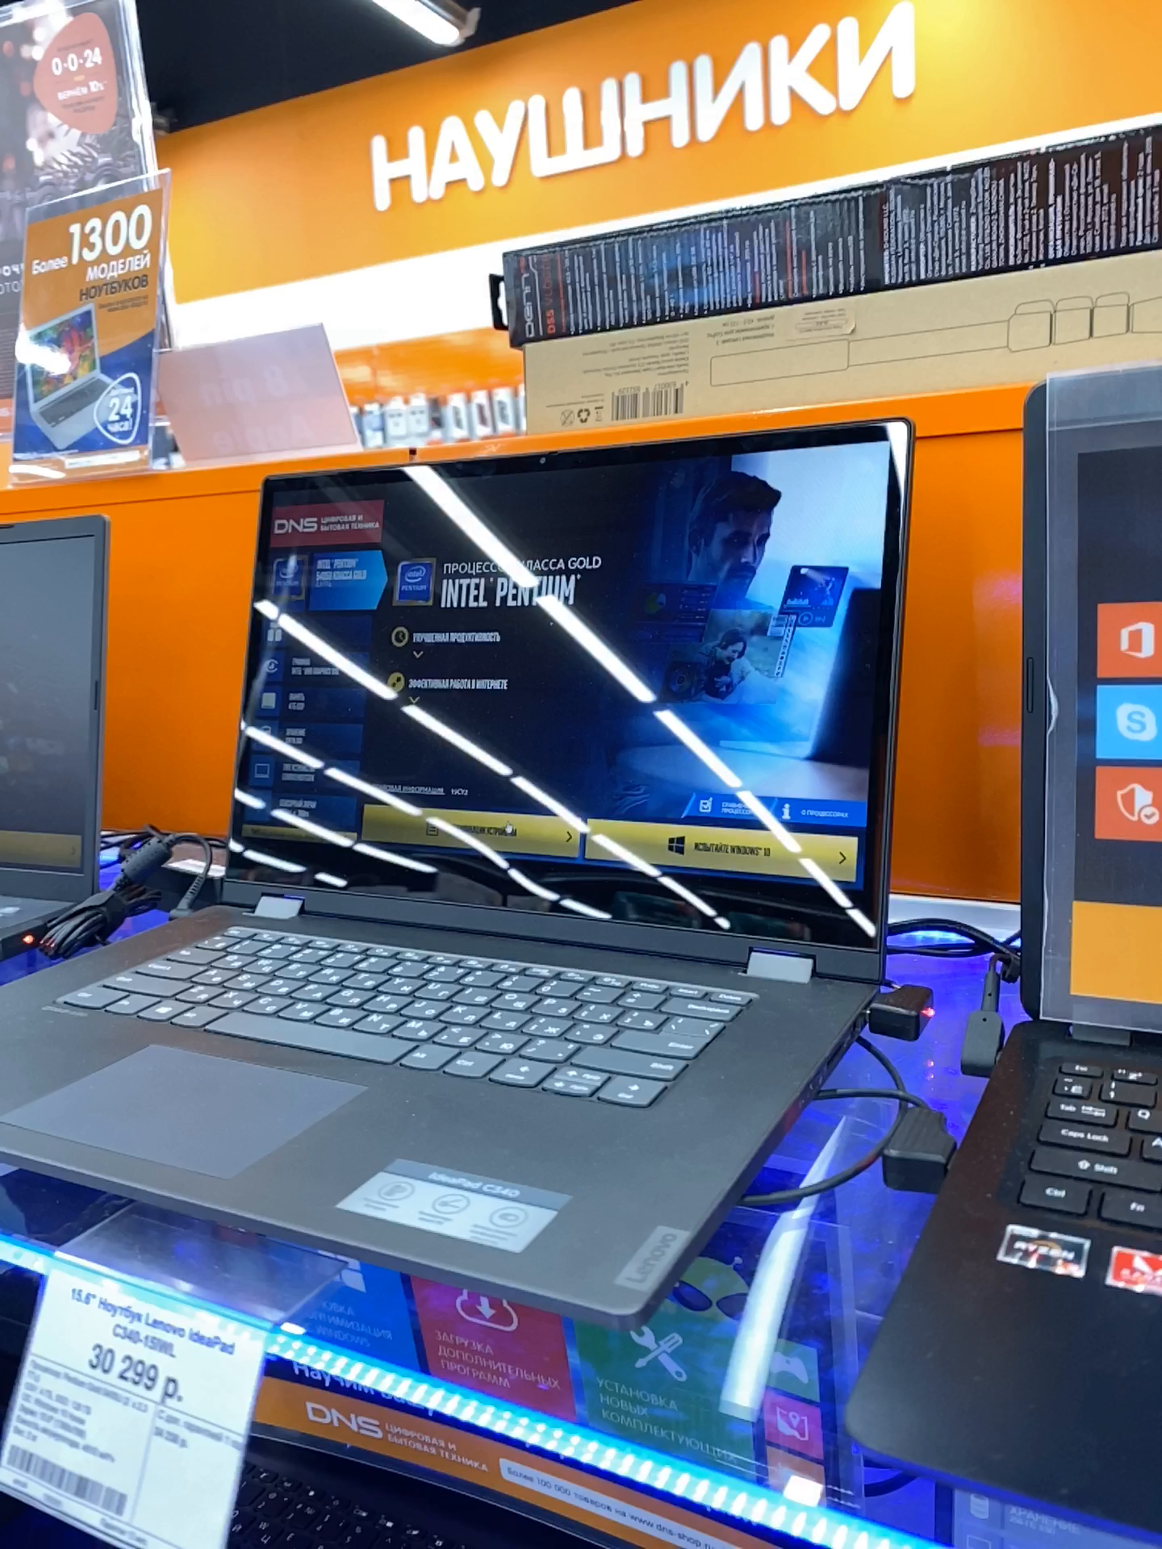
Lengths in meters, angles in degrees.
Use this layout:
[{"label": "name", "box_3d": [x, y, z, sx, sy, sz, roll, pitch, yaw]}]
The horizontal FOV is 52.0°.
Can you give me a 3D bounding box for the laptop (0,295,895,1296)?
[{"label": "laptop", "box_3d": [-0.089, -0.022, 0.489, 0.363, 0.232, 0.318, 2, 10, 26]}]
